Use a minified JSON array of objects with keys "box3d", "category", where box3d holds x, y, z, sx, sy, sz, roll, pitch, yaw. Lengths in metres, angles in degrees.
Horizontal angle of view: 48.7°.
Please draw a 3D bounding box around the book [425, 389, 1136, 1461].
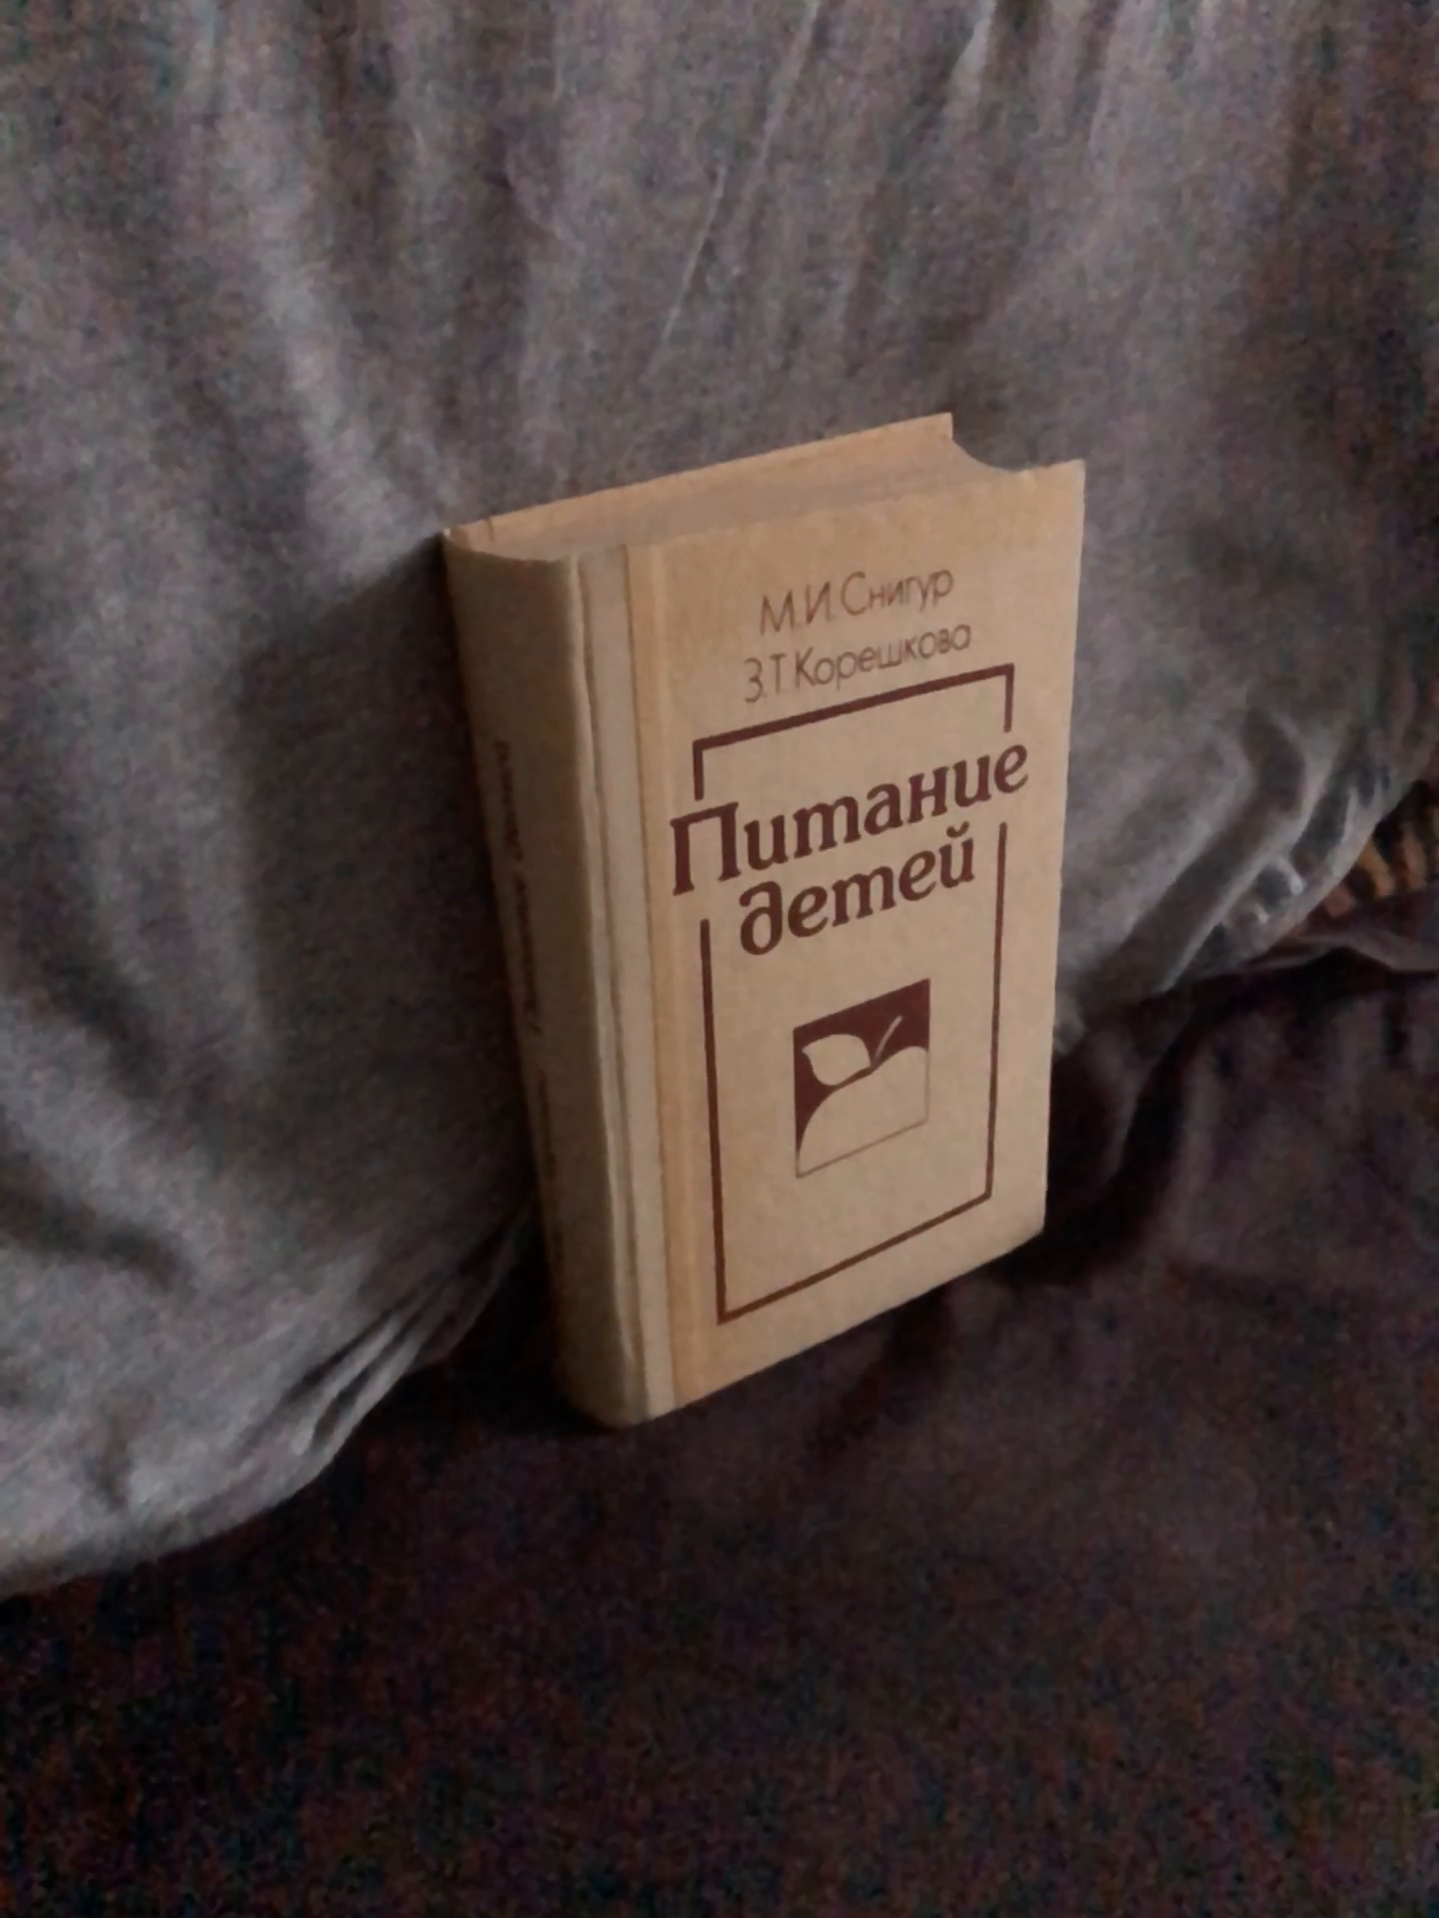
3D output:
[{"box3d":[0.022,-0.005,0.372,0.144,0.219,0.041,-20,33,-26],"category":"book"}]
